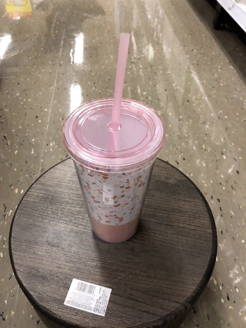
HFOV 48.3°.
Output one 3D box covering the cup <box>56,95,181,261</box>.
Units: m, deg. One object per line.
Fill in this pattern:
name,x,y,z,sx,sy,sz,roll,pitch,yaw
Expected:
cup,-0.010,0.021,0.302,0.090,0.149,0.090,1,47,-1
